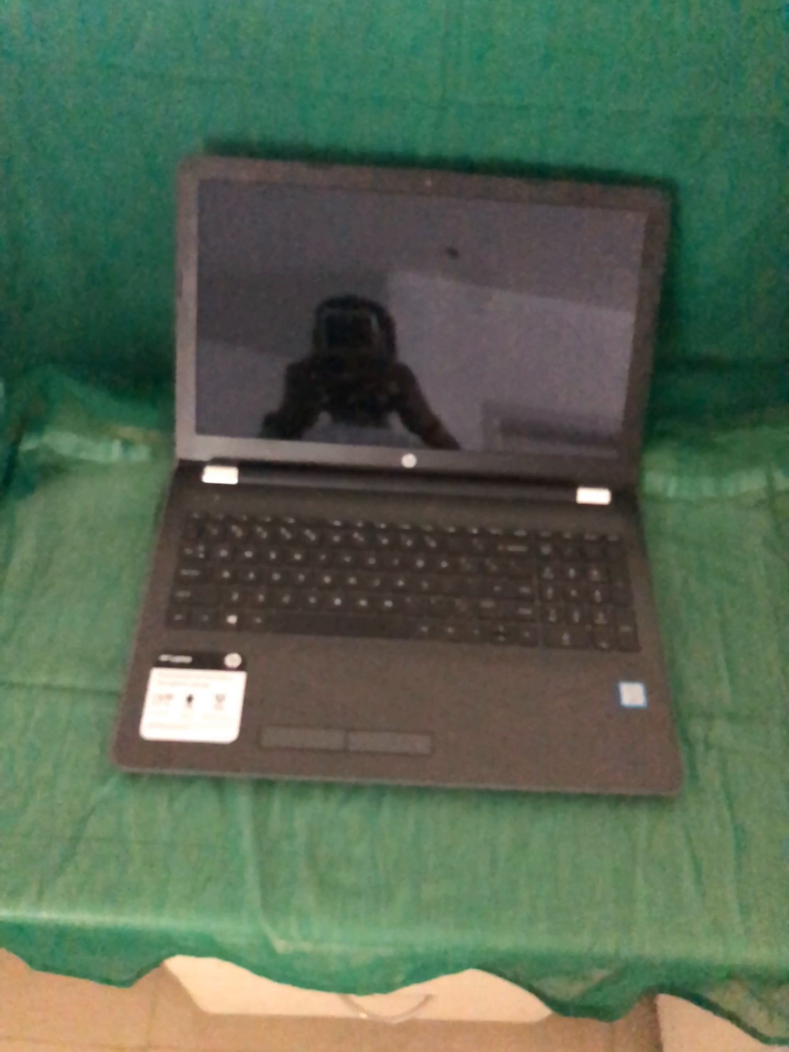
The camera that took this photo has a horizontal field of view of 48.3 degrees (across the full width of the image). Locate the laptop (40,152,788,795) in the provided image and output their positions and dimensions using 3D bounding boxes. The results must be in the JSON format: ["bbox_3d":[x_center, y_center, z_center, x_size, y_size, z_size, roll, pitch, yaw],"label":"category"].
[{"bbox_3d":[0.017,-0.052,0.630,0.378,0.179,0.416,3,55,-1],"label":"laptop"}]
